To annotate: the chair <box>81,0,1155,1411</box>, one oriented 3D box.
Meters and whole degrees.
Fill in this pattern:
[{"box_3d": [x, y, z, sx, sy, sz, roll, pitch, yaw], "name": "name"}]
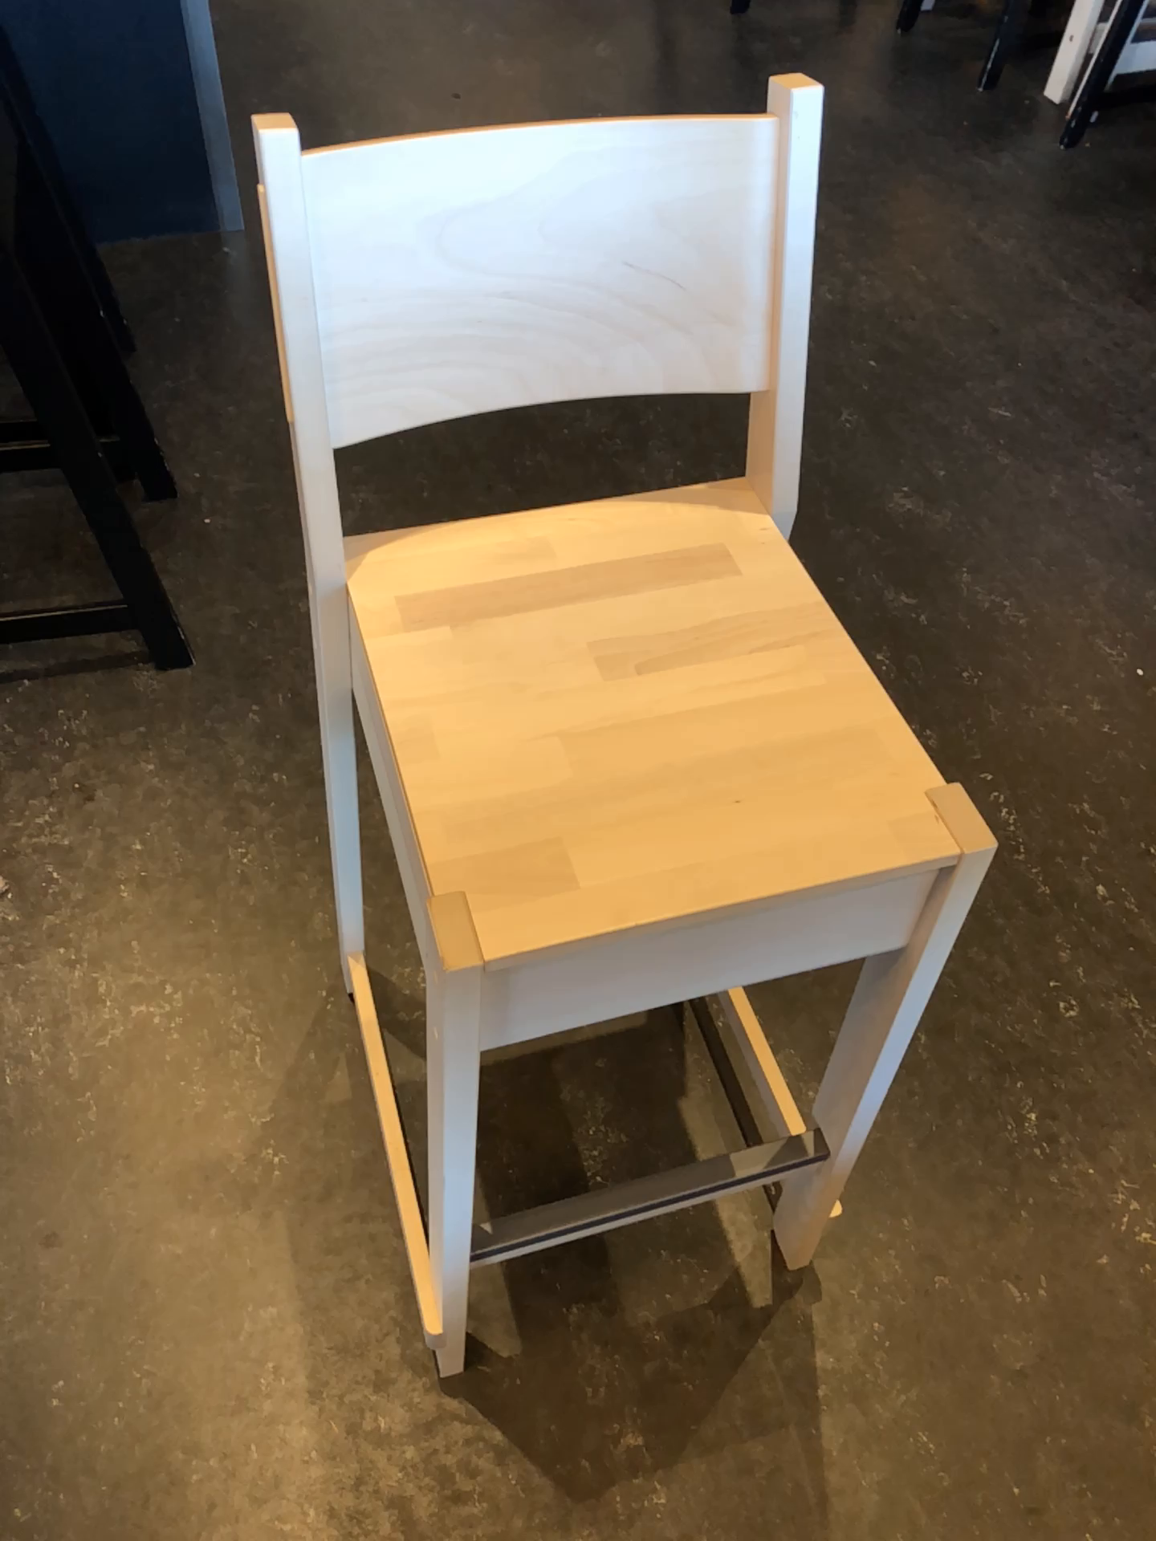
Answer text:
[{"box_3d": [-0.012, 0.018, 0.998, 0.460, 0.977, 0.542, -12, 51, -13], "name": "chair"}]
